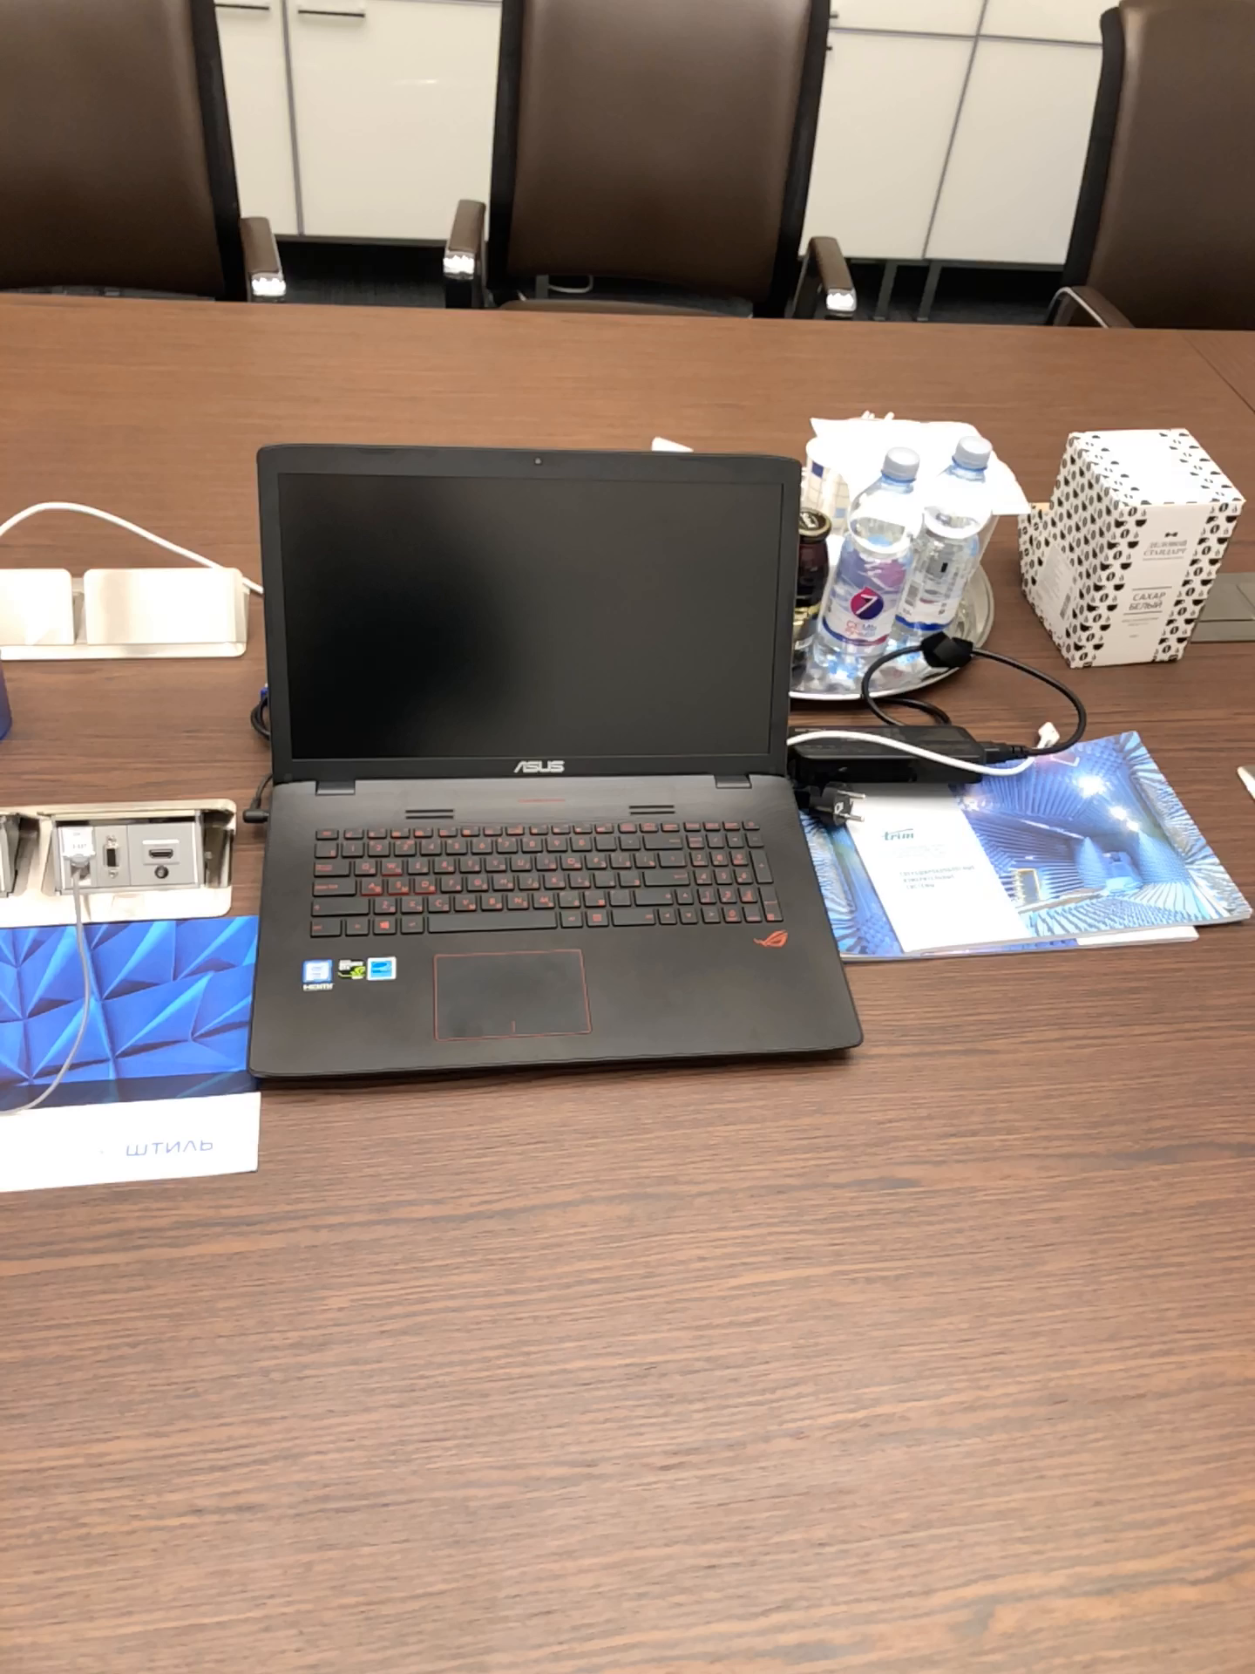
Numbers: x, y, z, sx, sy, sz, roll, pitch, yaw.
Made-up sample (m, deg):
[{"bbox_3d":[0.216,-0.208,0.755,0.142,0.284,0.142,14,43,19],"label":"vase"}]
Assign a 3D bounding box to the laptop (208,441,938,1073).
[{"bbox_3d":[-0.052,-0.068,0.906,0.379,0.194,0.370,-1,47,-9],"label":"laptop"}]
